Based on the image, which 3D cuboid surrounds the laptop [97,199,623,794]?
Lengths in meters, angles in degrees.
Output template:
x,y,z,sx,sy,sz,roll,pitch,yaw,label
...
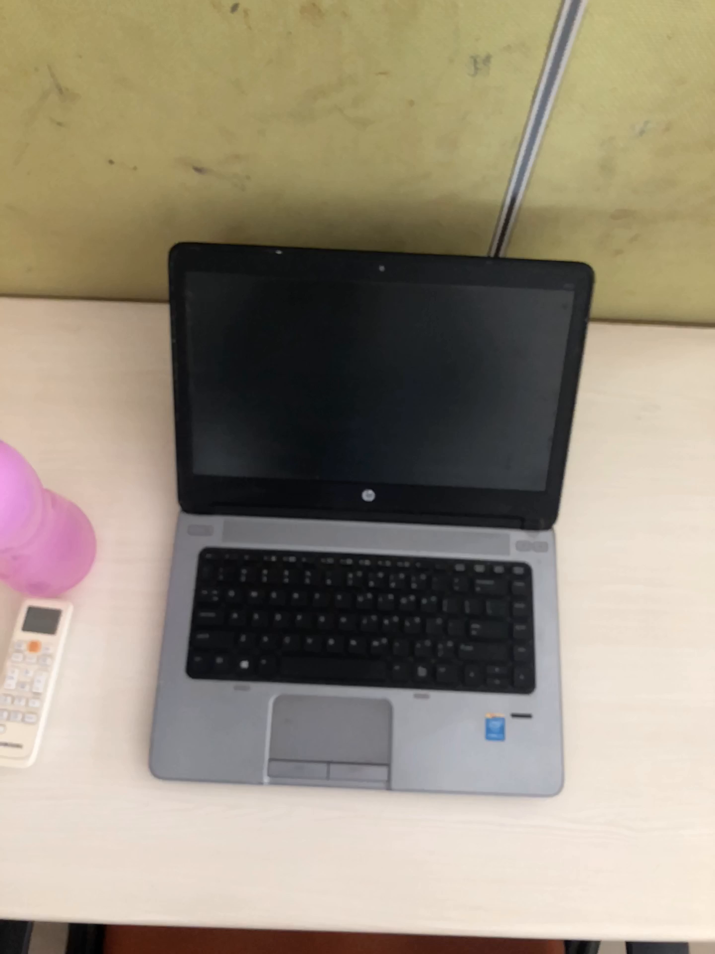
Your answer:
x,y,z,sx,sy,sz,roll,pitch,yaw,label
0.009,0.018,0.617,0.326,0.148,0.407,3,74,0,laptop
